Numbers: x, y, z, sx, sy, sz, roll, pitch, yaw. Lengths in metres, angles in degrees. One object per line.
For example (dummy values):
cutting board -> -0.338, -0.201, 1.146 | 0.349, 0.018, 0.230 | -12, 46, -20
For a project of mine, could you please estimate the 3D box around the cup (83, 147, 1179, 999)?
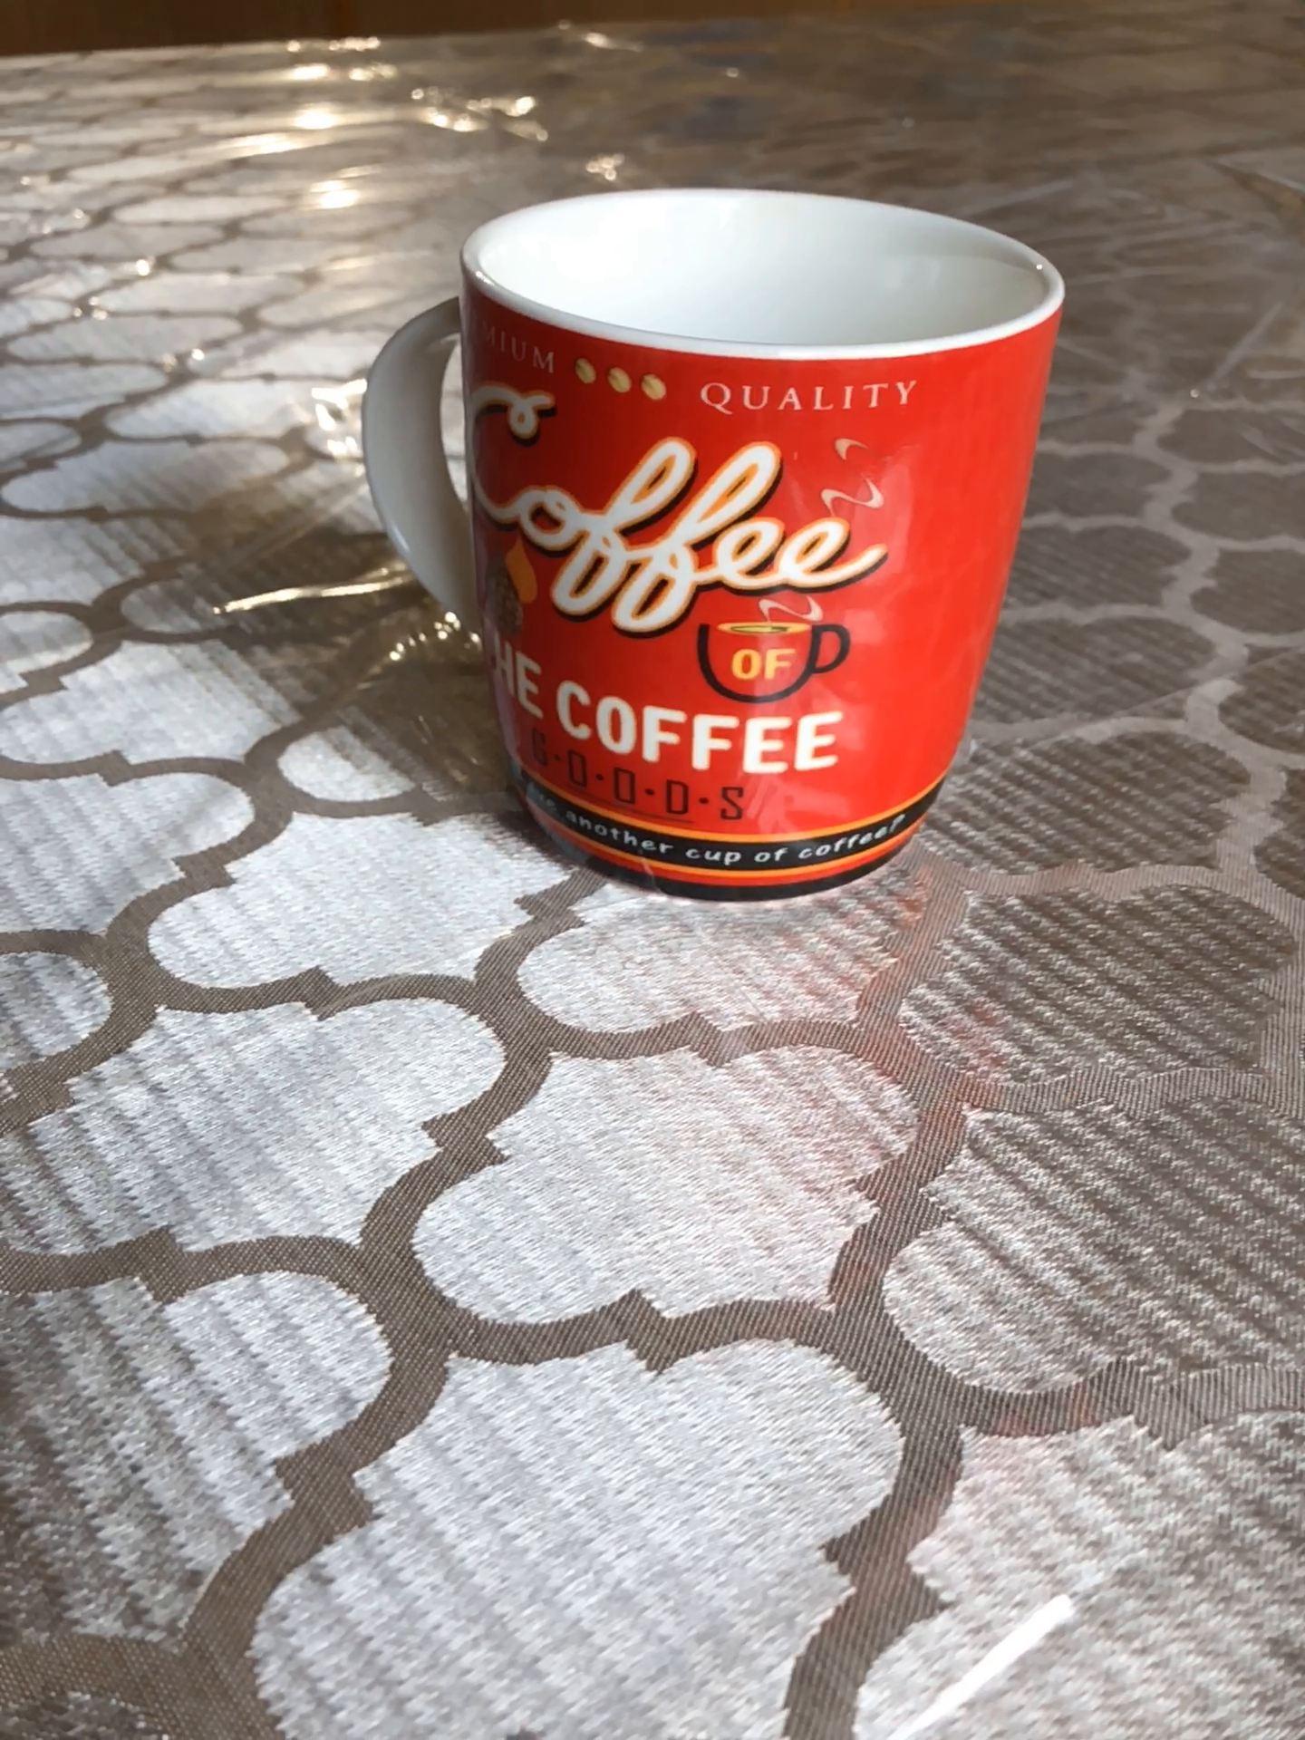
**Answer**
cup -> 0.003, -0.064, 0.253 | 0.130, 0.080, 0.121 | 2, 36, -1
